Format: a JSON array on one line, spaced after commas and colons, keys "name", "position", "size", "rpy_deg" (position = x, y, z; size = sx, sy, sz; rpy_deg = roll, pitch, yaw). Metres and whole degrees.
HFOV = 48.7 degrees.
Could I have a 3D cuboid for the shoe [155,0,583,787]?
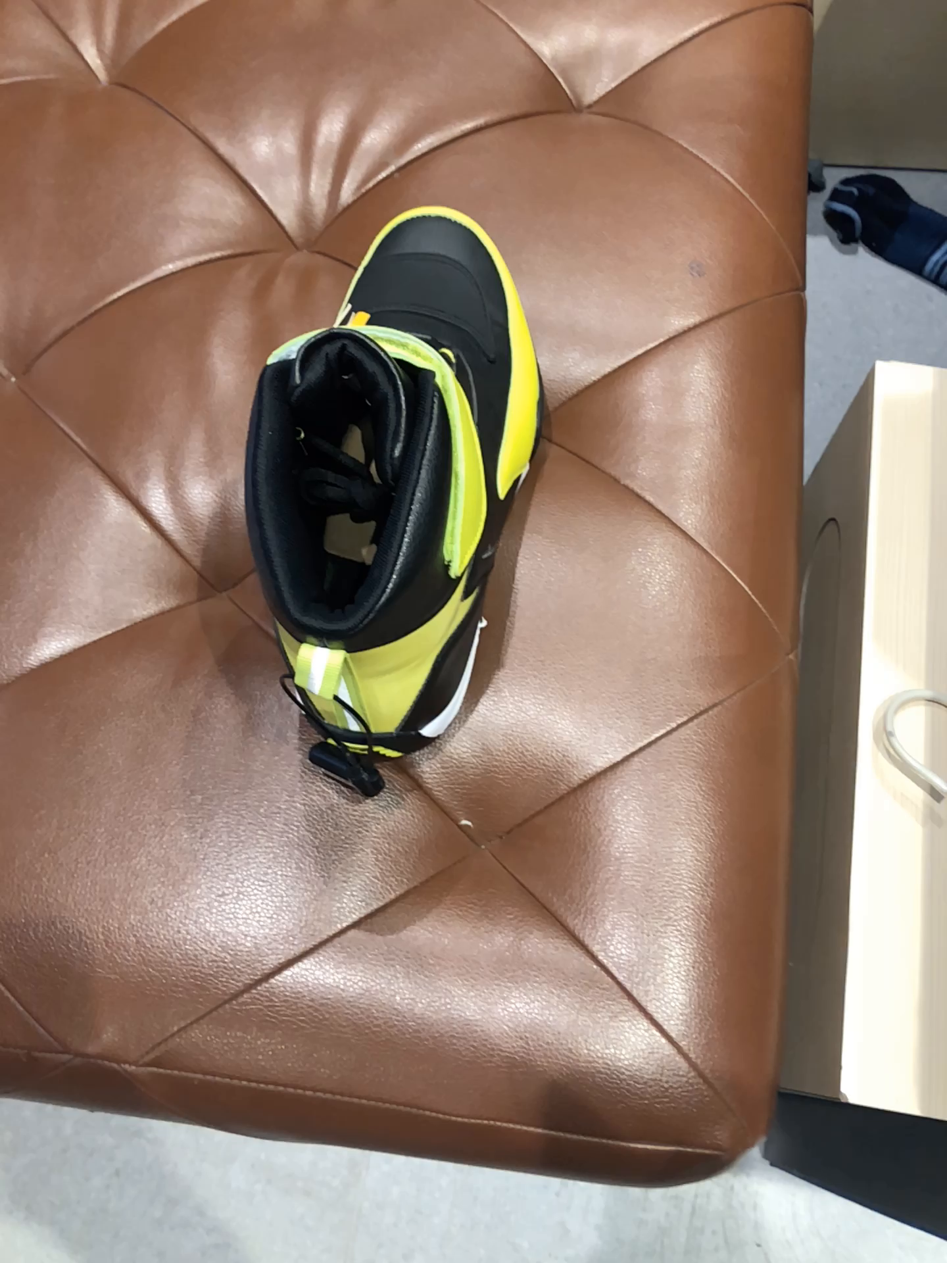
[{"name": "shoe", "position": [-0.025, -0.092, 0.447], "size": [0.116, 0.173, 0.274], "rpy_deg": [4, 69, 3]}]
